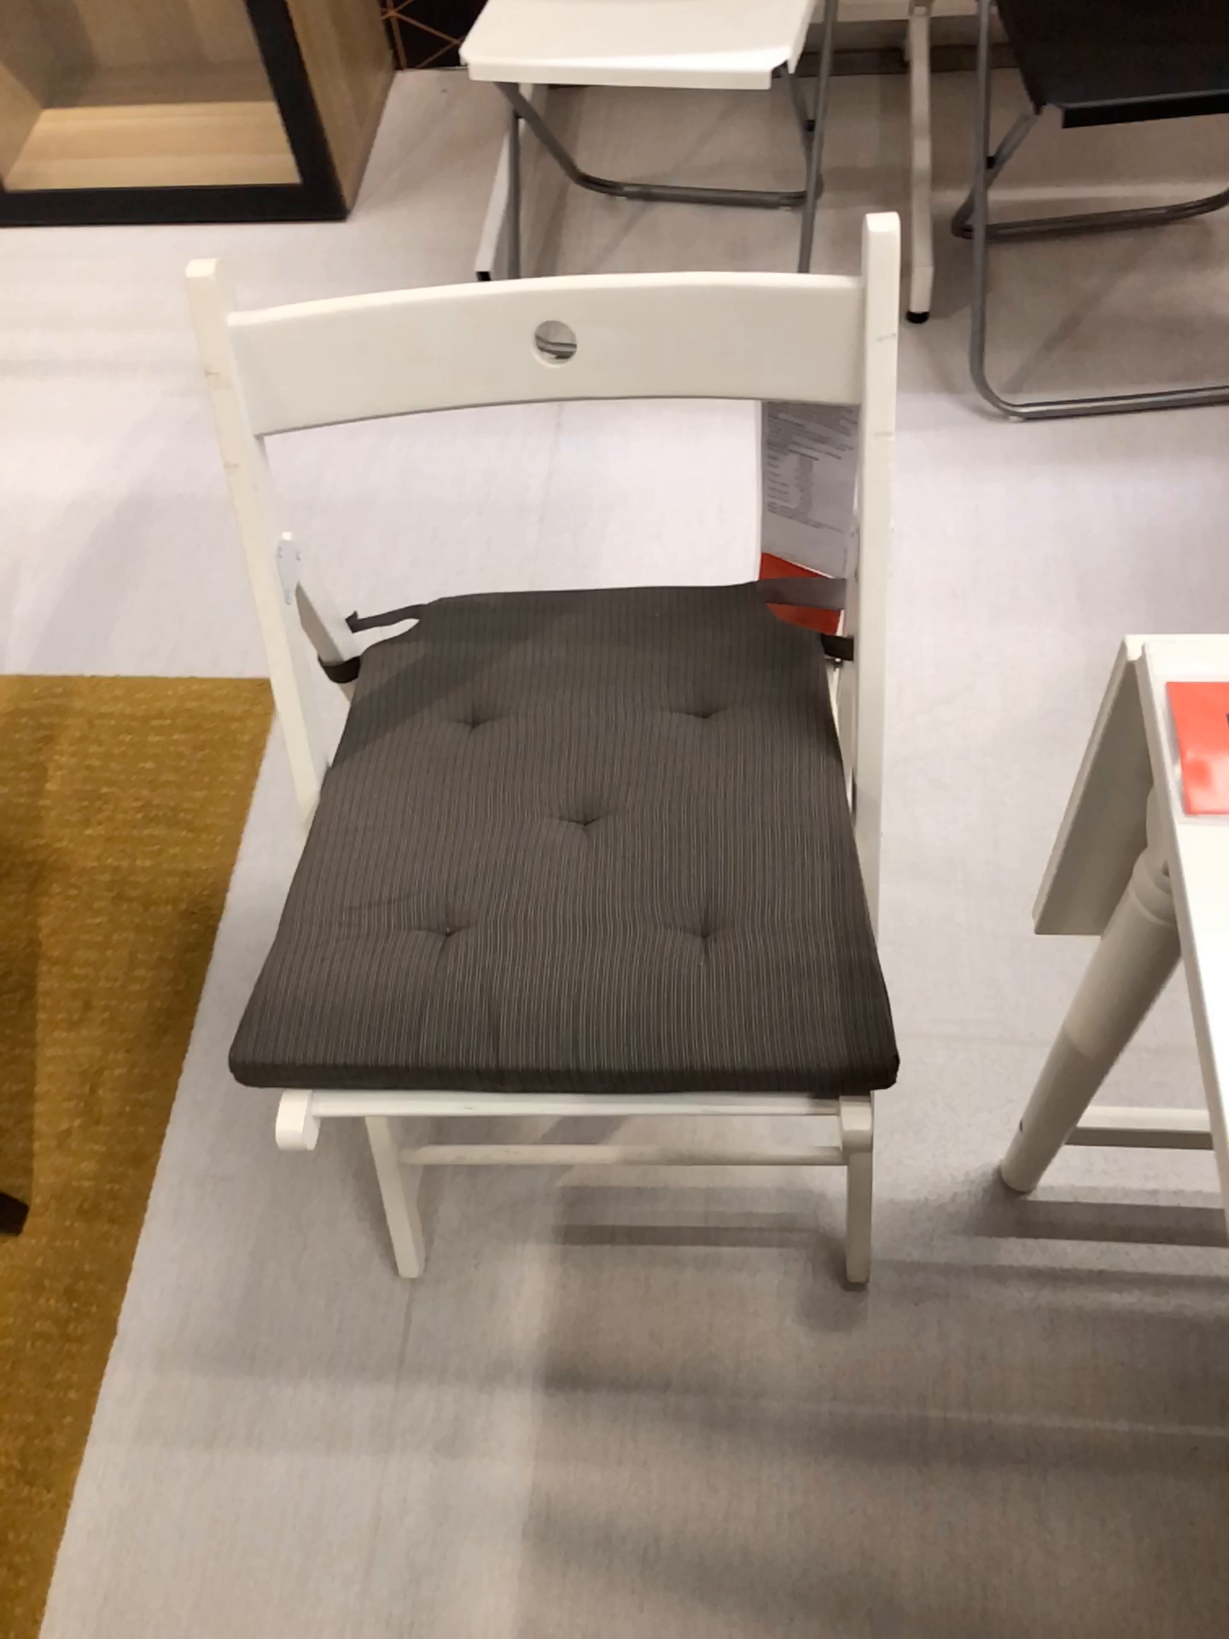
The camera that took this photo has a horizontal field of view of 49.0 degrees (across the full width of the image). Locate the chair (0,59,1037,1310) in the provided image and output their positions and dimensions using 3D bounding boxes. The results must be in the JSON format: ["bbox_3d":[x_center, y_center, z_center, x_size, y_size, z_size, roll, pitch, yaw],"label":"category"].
[{"bbox_3d":[-0.040,0.002,0.867,0.440,0.697,0.452,-1,59,6],"label":"chair"}]
